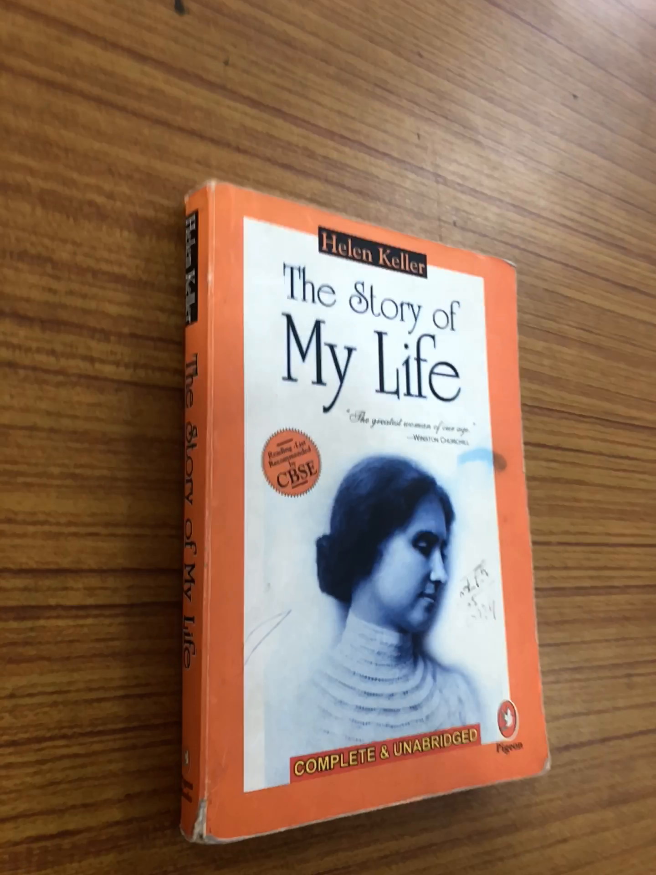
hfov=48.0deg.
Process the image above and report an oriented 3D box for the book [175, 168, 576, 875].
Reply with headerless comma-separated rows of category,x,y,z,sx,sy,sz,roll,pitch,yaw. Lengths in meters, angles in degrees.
book,0.018,0.021,0.223,0.120,0.030,0.170,5,79,-33
